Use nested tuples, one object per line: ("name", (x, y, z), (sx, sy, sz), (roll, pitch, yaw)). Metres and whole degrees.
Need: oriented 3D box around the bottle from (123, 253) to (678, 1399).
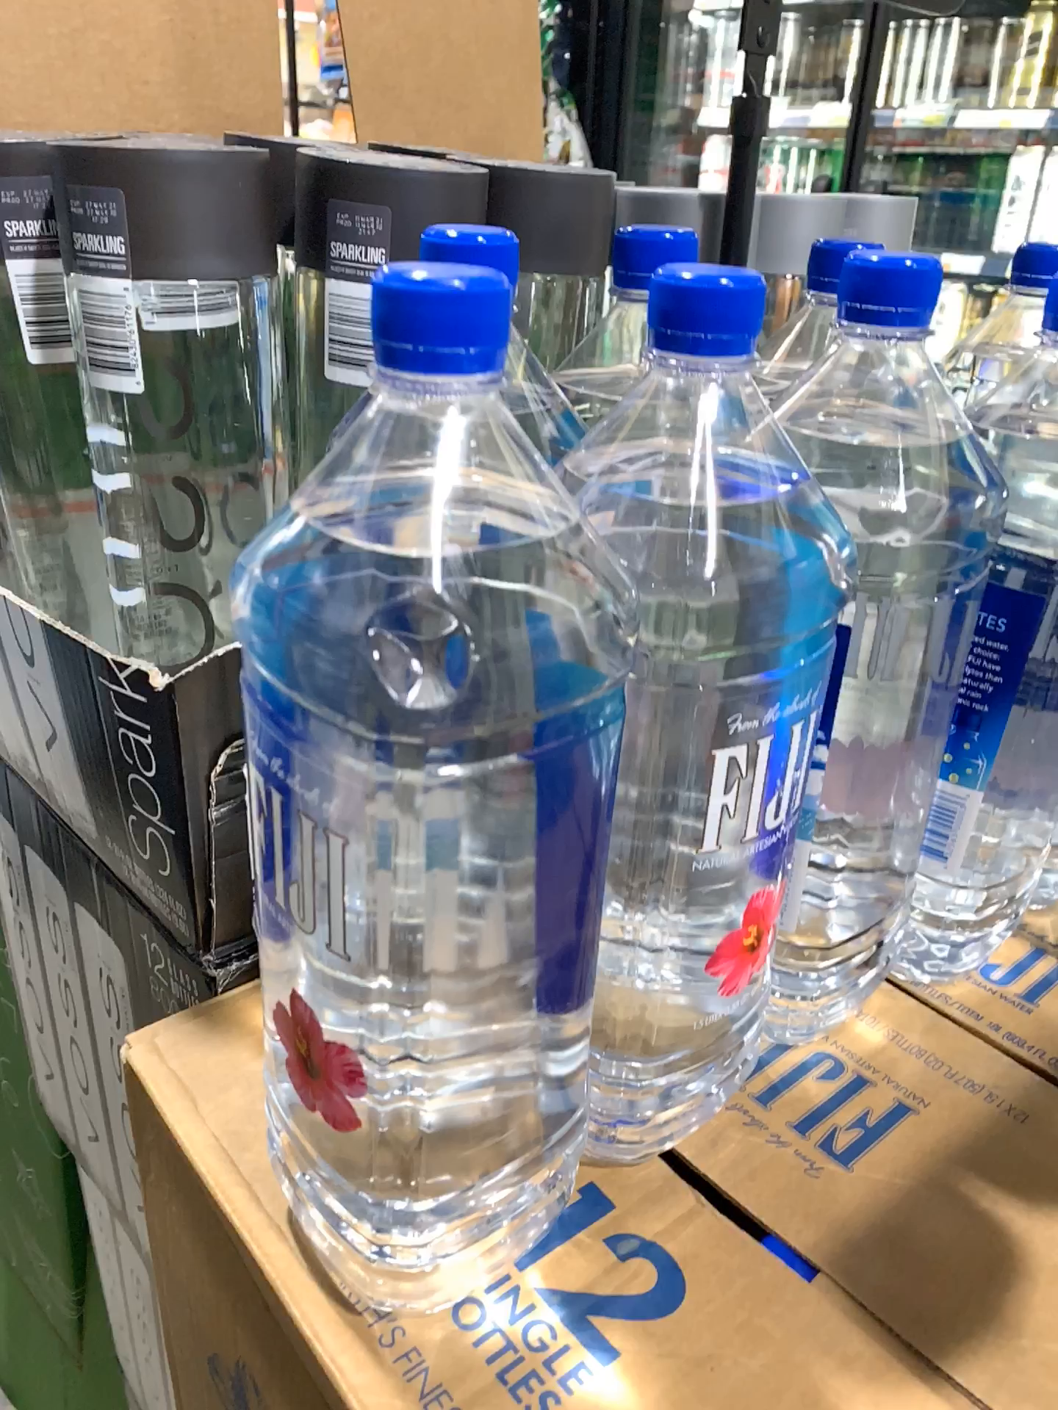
("bottle", (-0.035, 0.035, 0.285), (0.080, 0.278, 0.090), (-16, 31, -33))
